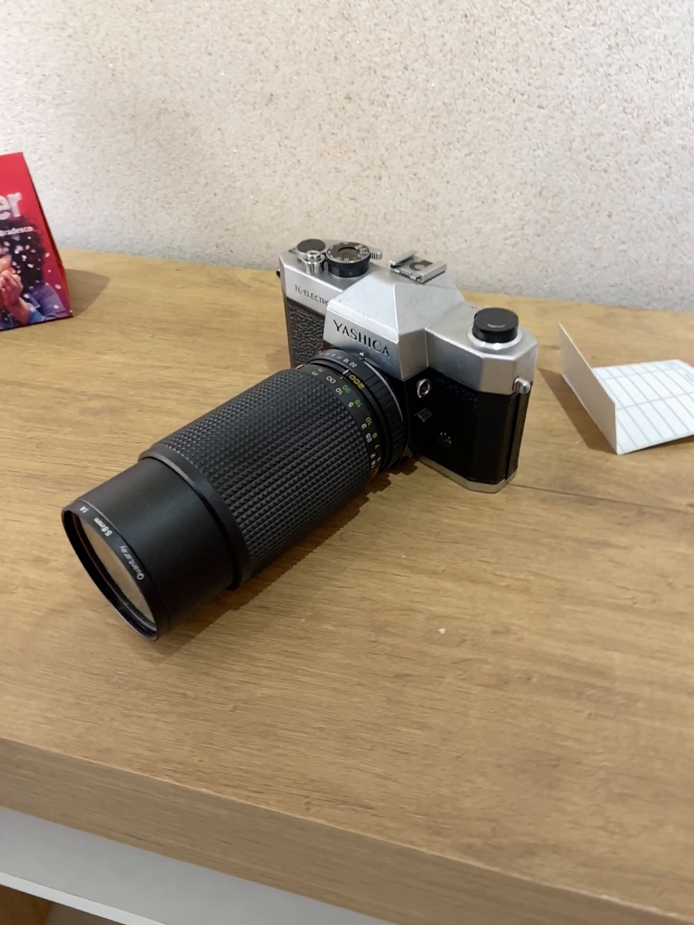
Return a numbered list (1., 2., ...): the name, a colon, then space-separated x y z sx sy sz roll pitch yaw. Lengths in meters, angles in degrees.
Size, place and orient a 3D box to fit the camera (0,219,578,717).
1. camera: -0.025 -0.020 0.324 0.201 0.080 0.150 -32 48 -28
